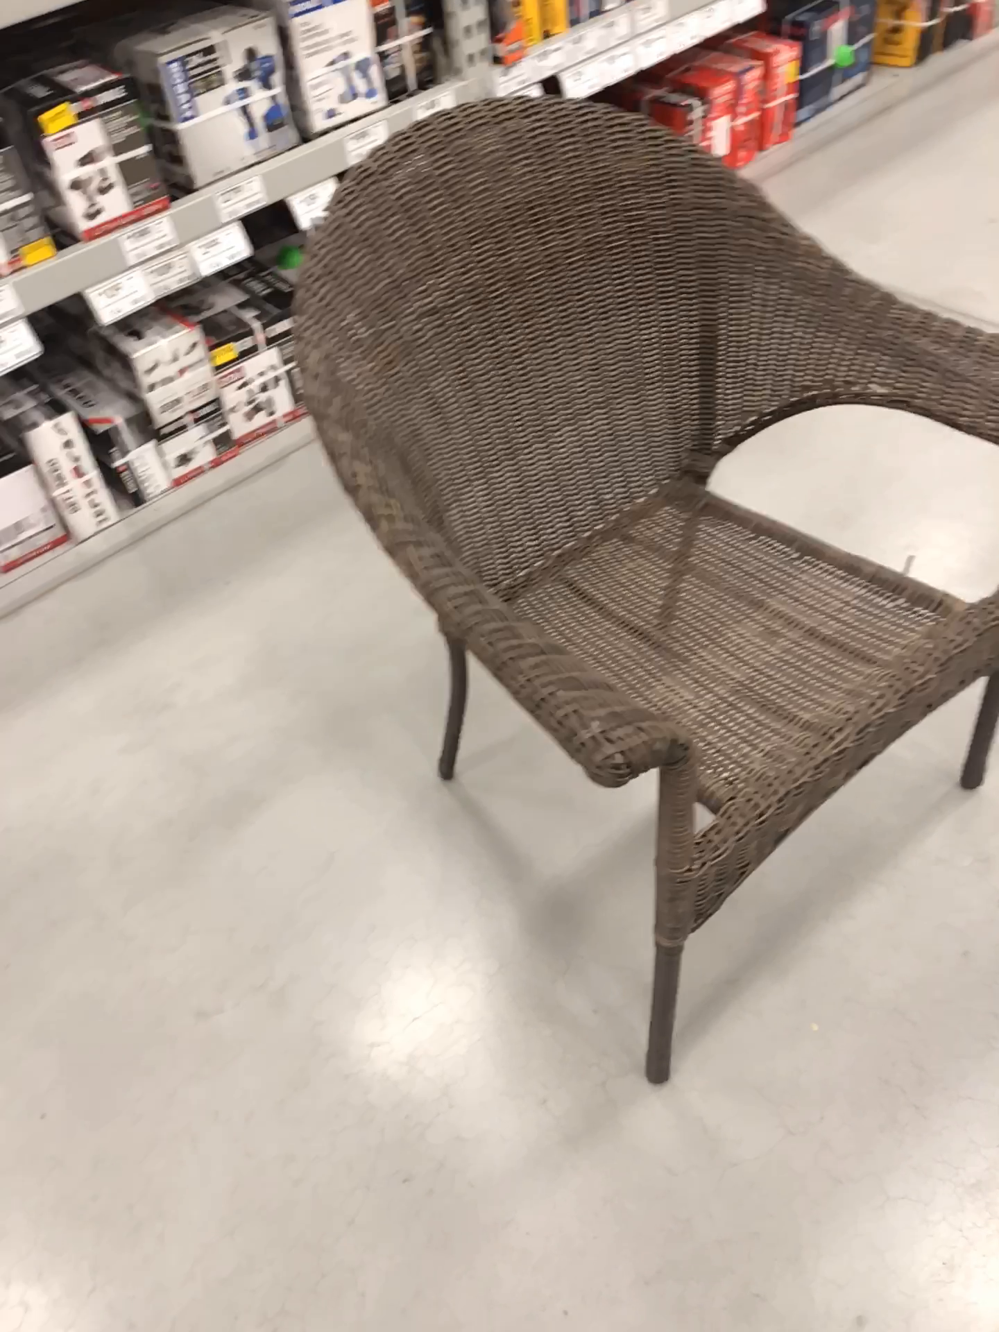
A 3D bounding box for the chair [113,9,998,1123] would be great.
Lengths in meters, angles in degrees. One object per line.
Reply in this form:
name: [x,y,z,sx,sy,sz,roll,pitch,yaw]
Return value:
chair: [0.182,-0.157,1.275,0.721,0.797,0.762,-34,51,-23]
